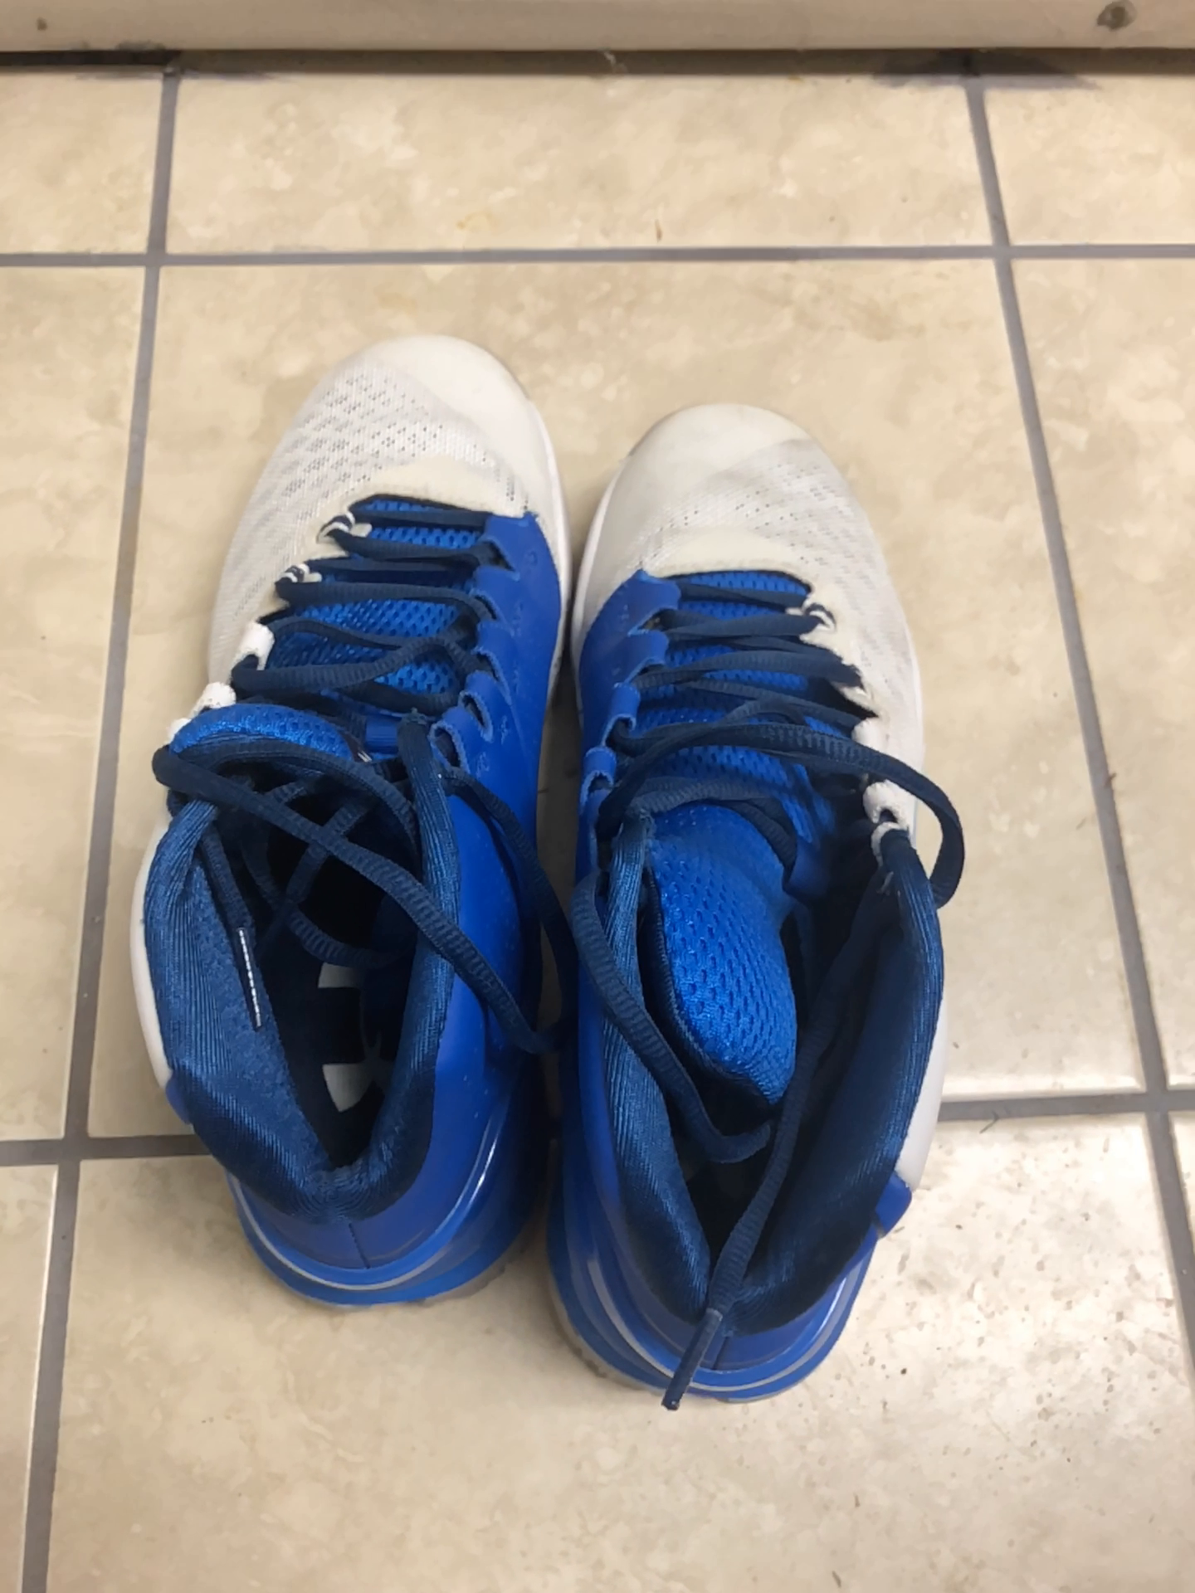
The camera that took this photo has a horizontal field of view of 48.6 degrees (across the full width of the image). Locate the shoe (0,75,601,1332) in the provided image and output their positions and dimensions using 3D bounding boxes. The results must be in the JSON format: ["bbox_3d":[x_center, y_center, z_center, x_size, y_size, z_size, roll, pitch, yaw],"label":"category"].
[{"bbox_3d":[-0.061,-0.029,0.348,0.120,0.100,0.311,1,70,-2],"label":"shoe"}]

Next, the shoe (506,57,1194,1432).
[{"bbox_3d":[0.045,-0.018,0.344,0.120,0.130,0.323,2,67,-2],"label":"shoe"}]
